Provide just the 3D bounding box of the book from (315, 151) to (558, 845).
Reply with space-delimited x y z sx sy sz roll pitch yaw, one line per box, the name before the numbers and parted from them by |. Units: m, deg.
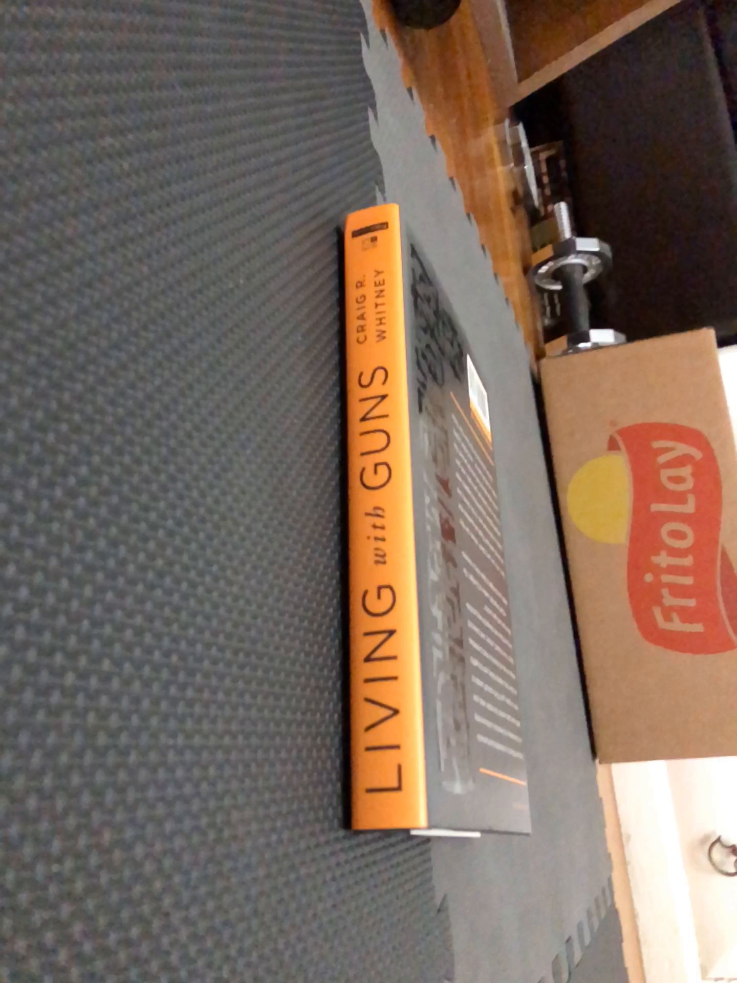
book | 0.032 0.013 0.359 0.170 0.040 0.260 45 38 -57
